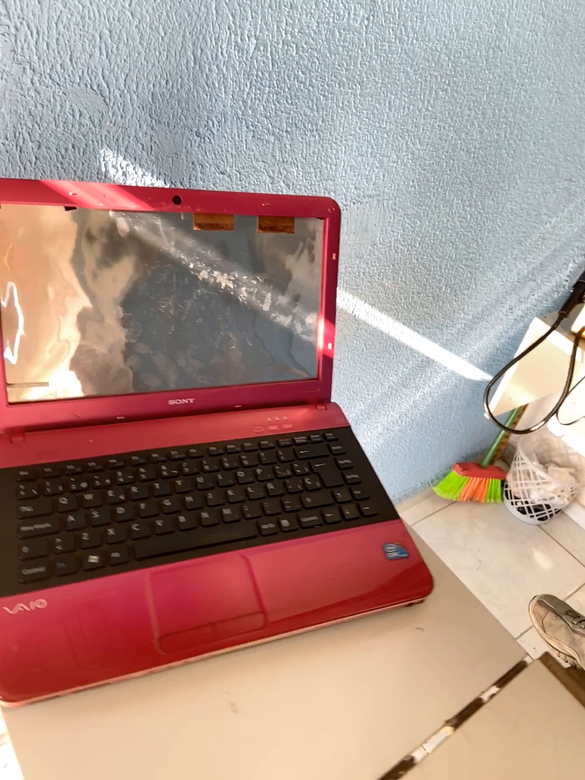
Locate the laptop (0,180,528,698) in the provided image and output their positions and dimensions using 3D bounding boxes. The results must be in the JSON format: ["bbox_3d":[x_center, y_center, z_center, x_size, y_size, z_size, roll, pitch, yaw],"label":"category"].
[{"bbox_3d":[-0.070,-0.002,0.502,0.331,0.187,0.341,-4,43,-22],"label":"laptop"}]
